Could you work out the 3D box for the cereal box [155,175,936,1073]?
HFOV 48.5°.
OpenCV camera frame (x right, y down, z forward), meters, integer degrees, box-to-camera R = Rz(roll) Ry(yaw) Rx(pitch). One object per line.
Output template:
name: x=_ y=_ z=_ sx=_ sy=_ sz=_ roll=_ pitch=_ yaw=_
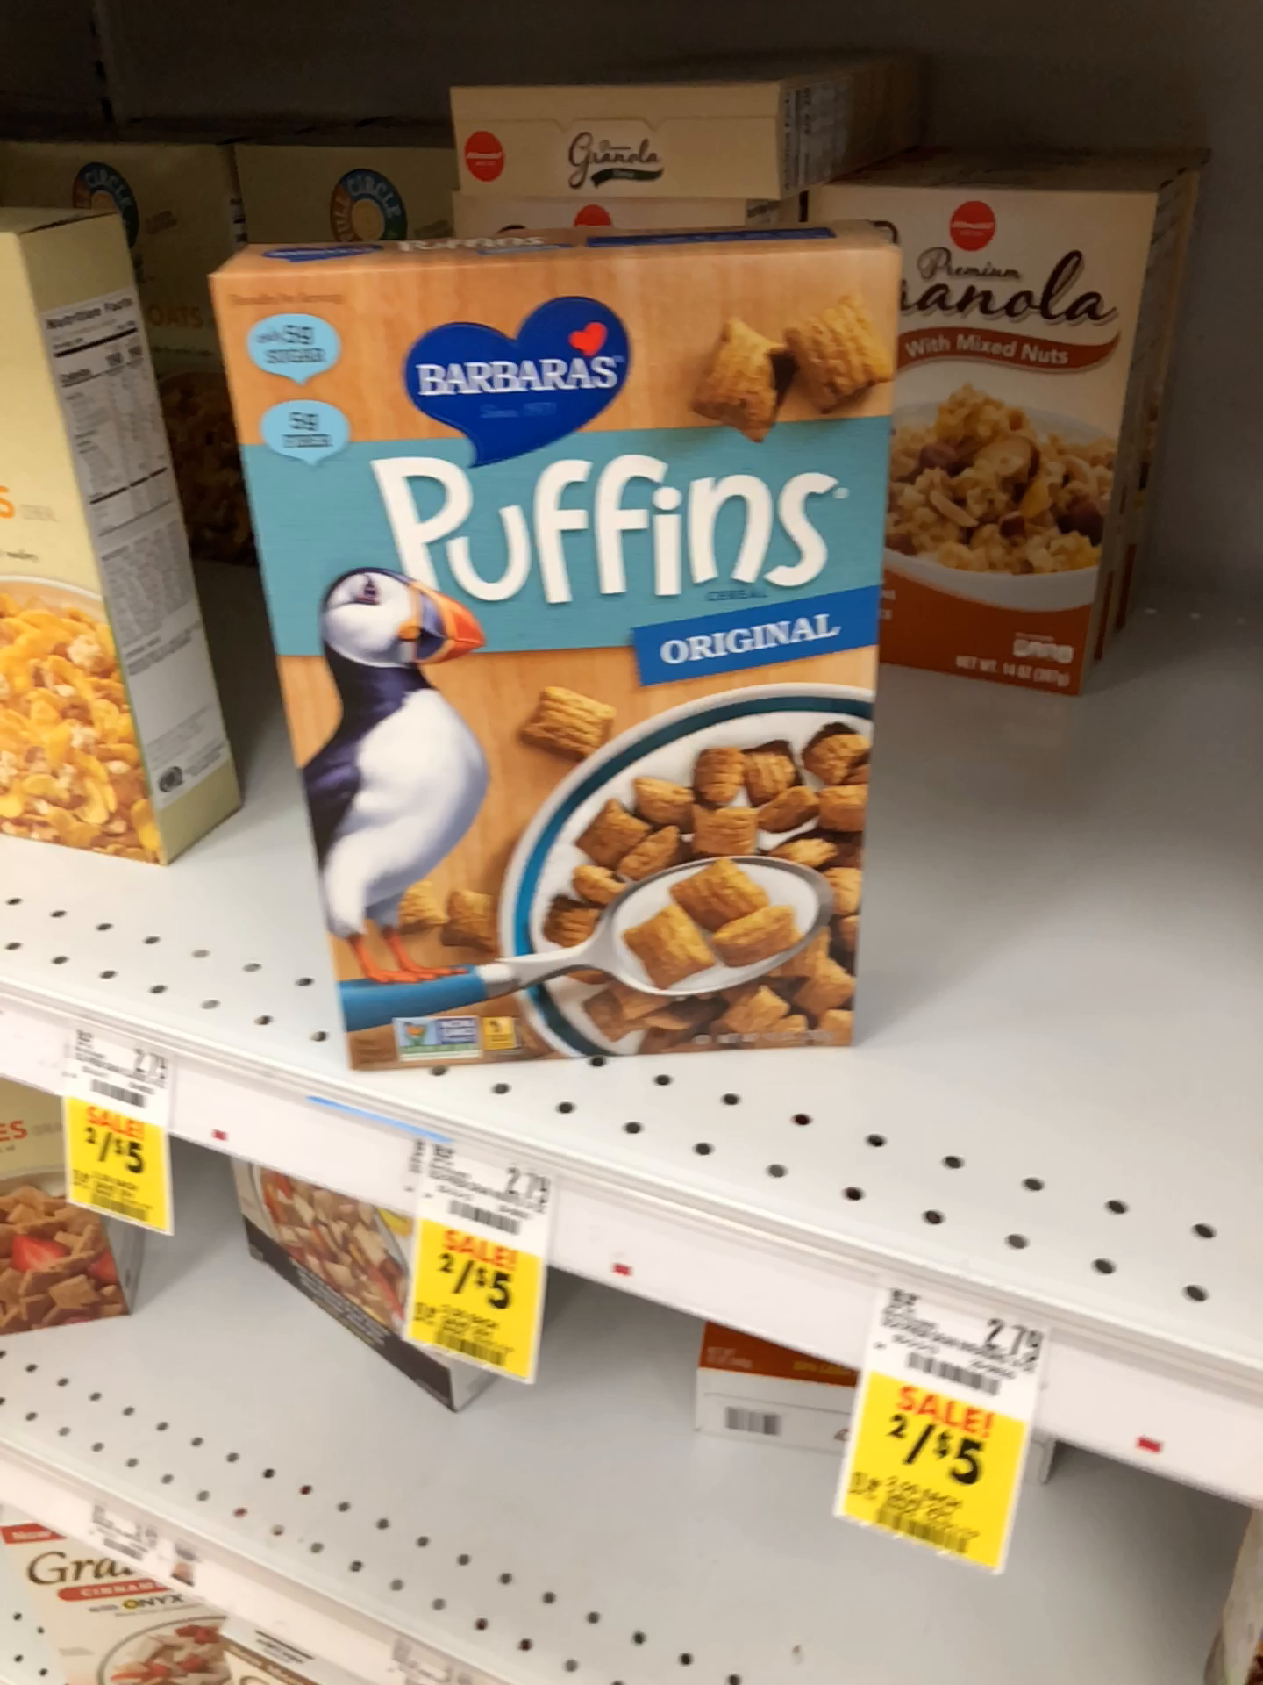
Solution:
cereal box: x=-0.016 y=-0.055 z=0.432 sx=0.190 sy=0.259 sz=0.060 roll=-3 pitch=30 yaw=0
